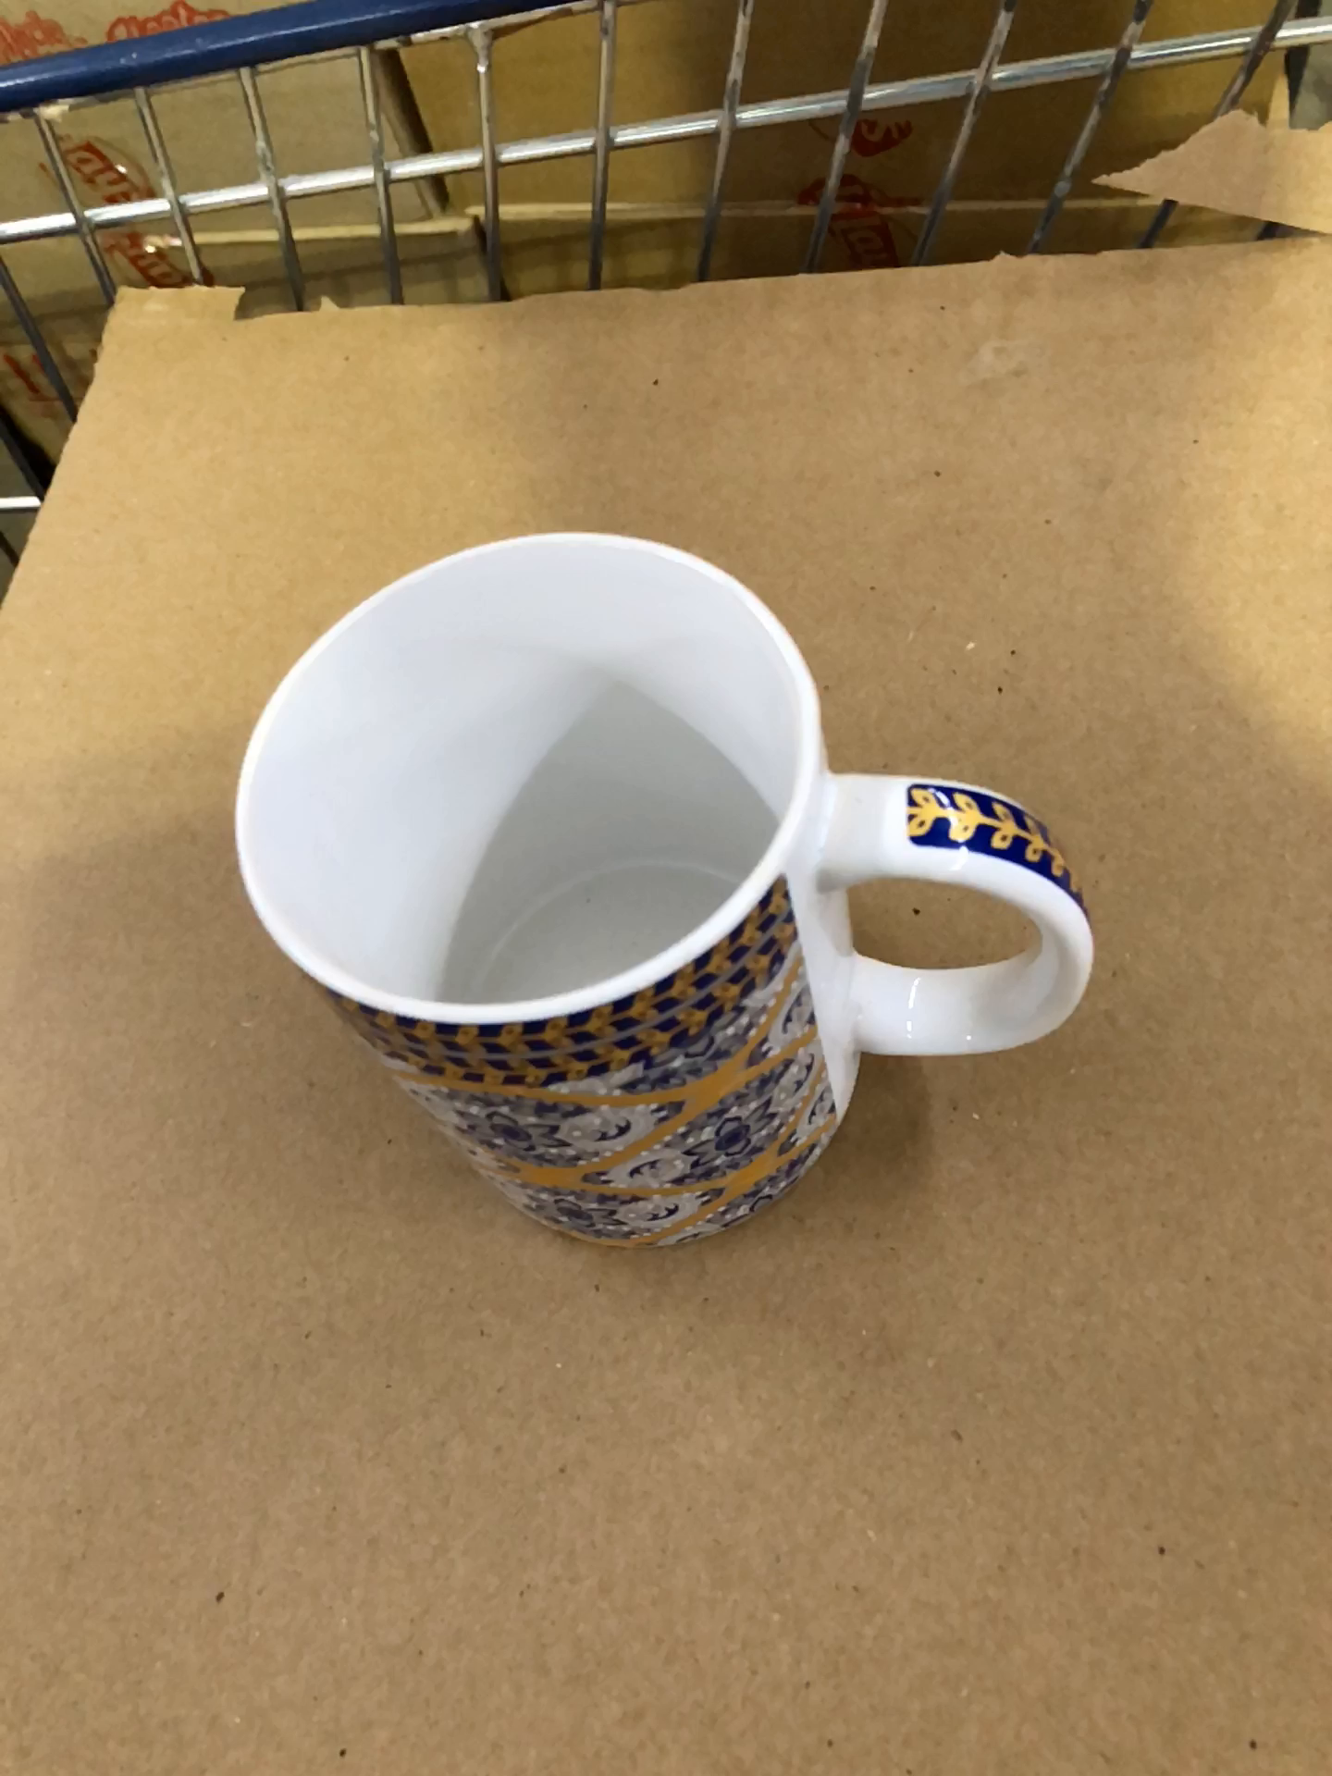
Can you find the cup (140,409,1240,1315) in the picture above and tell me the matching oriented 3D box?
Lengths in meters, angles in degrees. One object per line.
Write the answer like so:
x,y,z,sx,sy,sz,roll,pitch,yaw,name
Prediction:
0.007,0.004,0.222,0.120,0.100,0.080,-7,55,8,cup
